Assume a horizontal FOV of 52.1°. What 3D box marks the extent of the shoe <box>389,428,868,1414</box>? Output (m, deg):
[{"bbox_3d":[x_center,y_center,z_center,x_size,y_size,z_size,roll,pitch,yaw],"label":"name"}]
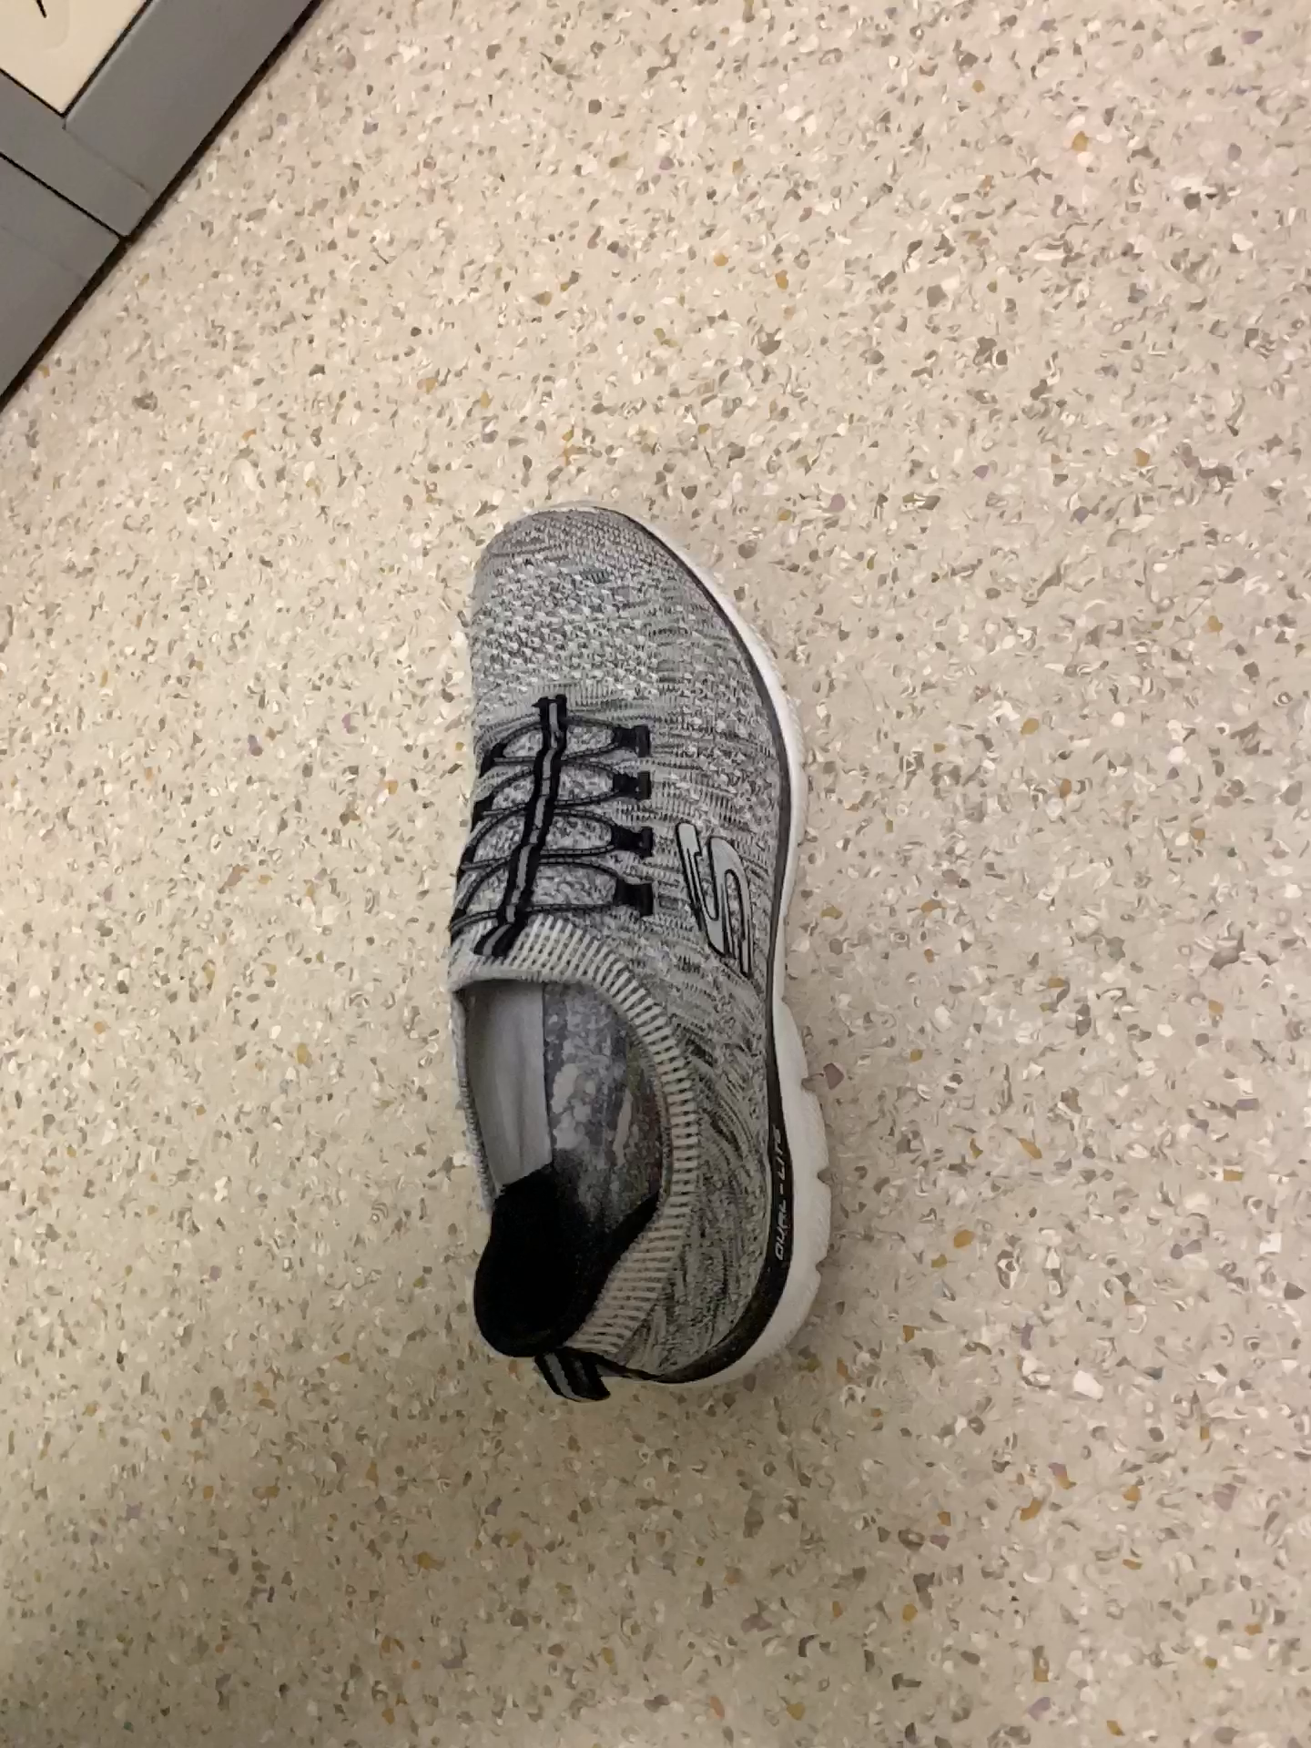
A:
[{"bbox_3d":[-0.007,0.015,0.387,0.094,0.093,0.241,-7,81,24],"label":"shoe"}]
